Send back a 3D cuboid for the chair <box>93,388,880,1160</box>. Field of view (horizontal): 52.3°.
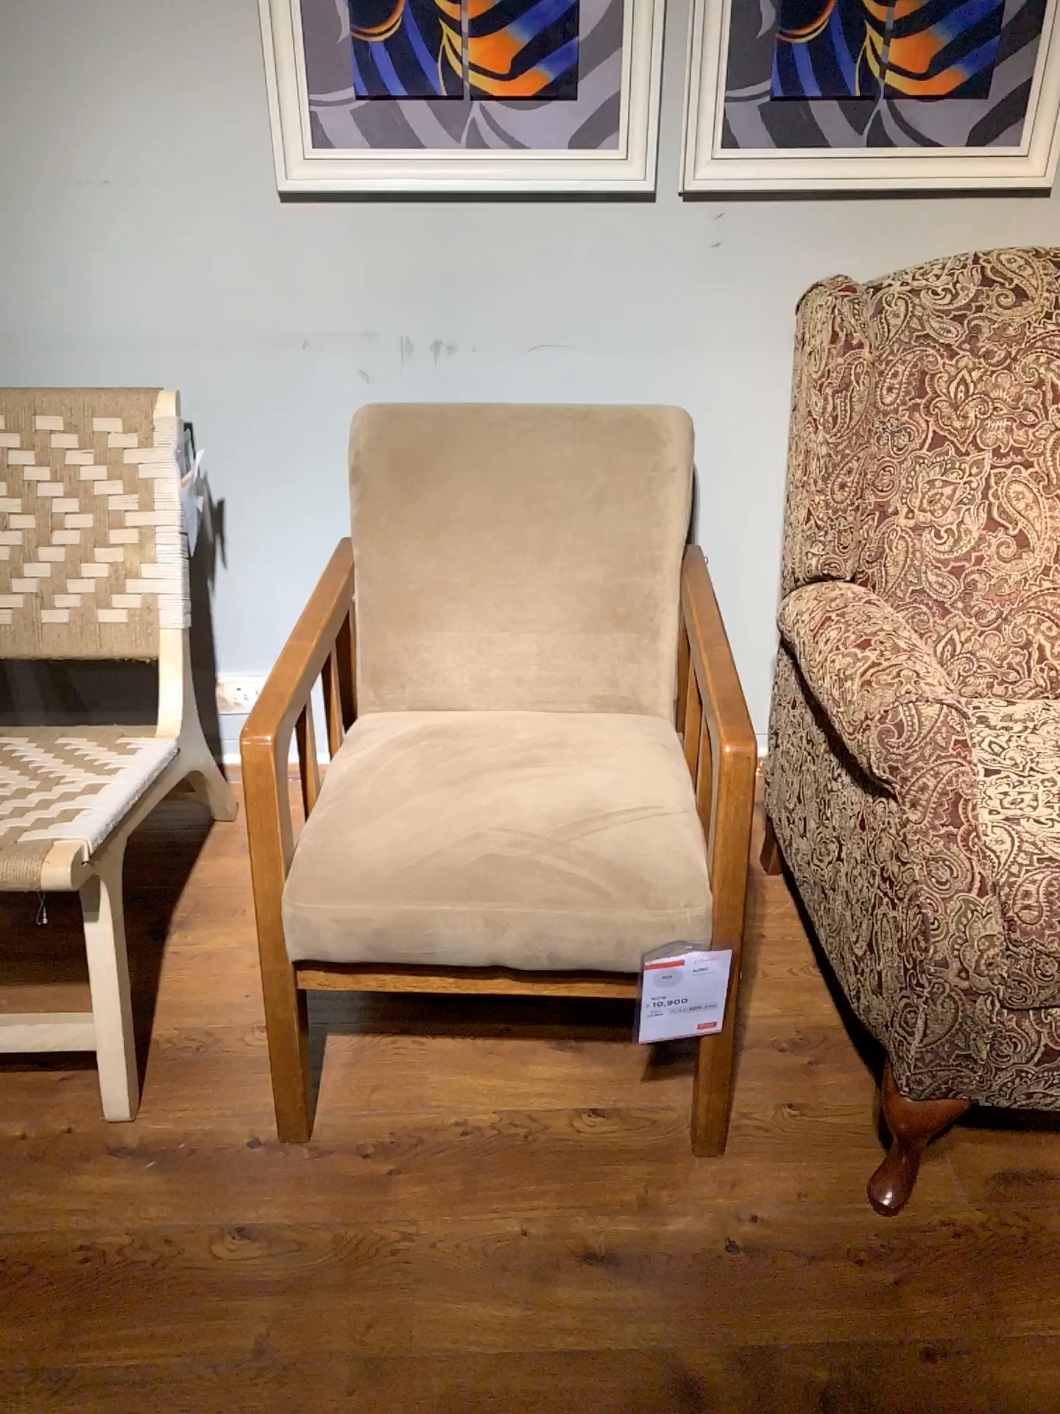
[{"bbox_3d":[-0.039,0.023,1.548,0.720,0.737,0.874,1,29,0],"label":"chair"}]
